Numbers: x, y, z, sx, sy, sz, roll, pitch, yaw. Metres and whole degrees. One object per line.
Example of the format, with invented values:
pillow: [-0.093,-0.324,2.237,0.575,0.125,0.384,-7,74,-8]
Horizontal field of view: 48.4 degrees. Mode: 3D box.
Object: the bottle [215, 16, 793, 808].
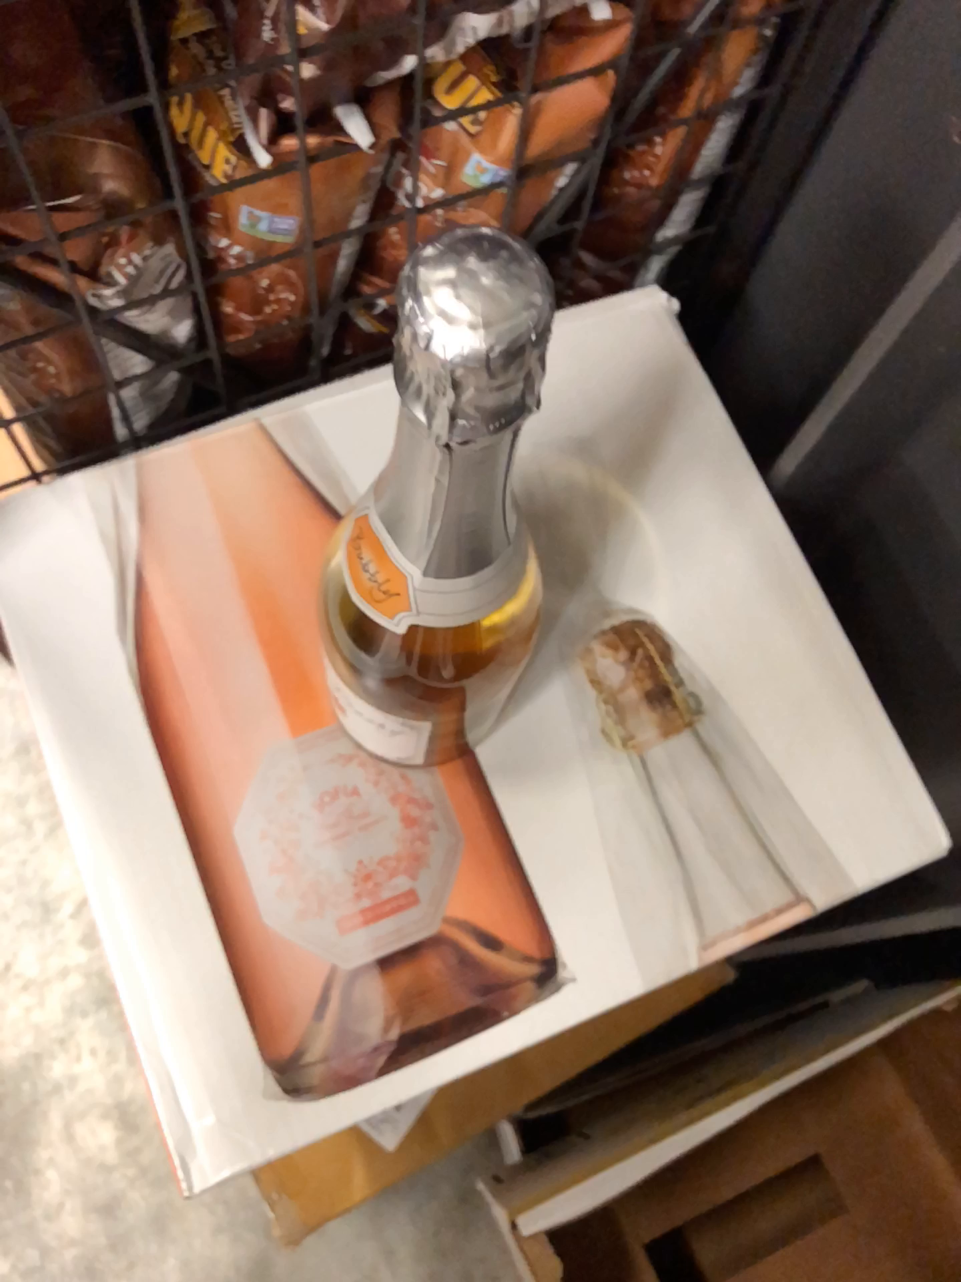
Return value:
bottle: [-0.011,-0.030,0.362,0.086,0.320,0.078,-30,76,-15]
